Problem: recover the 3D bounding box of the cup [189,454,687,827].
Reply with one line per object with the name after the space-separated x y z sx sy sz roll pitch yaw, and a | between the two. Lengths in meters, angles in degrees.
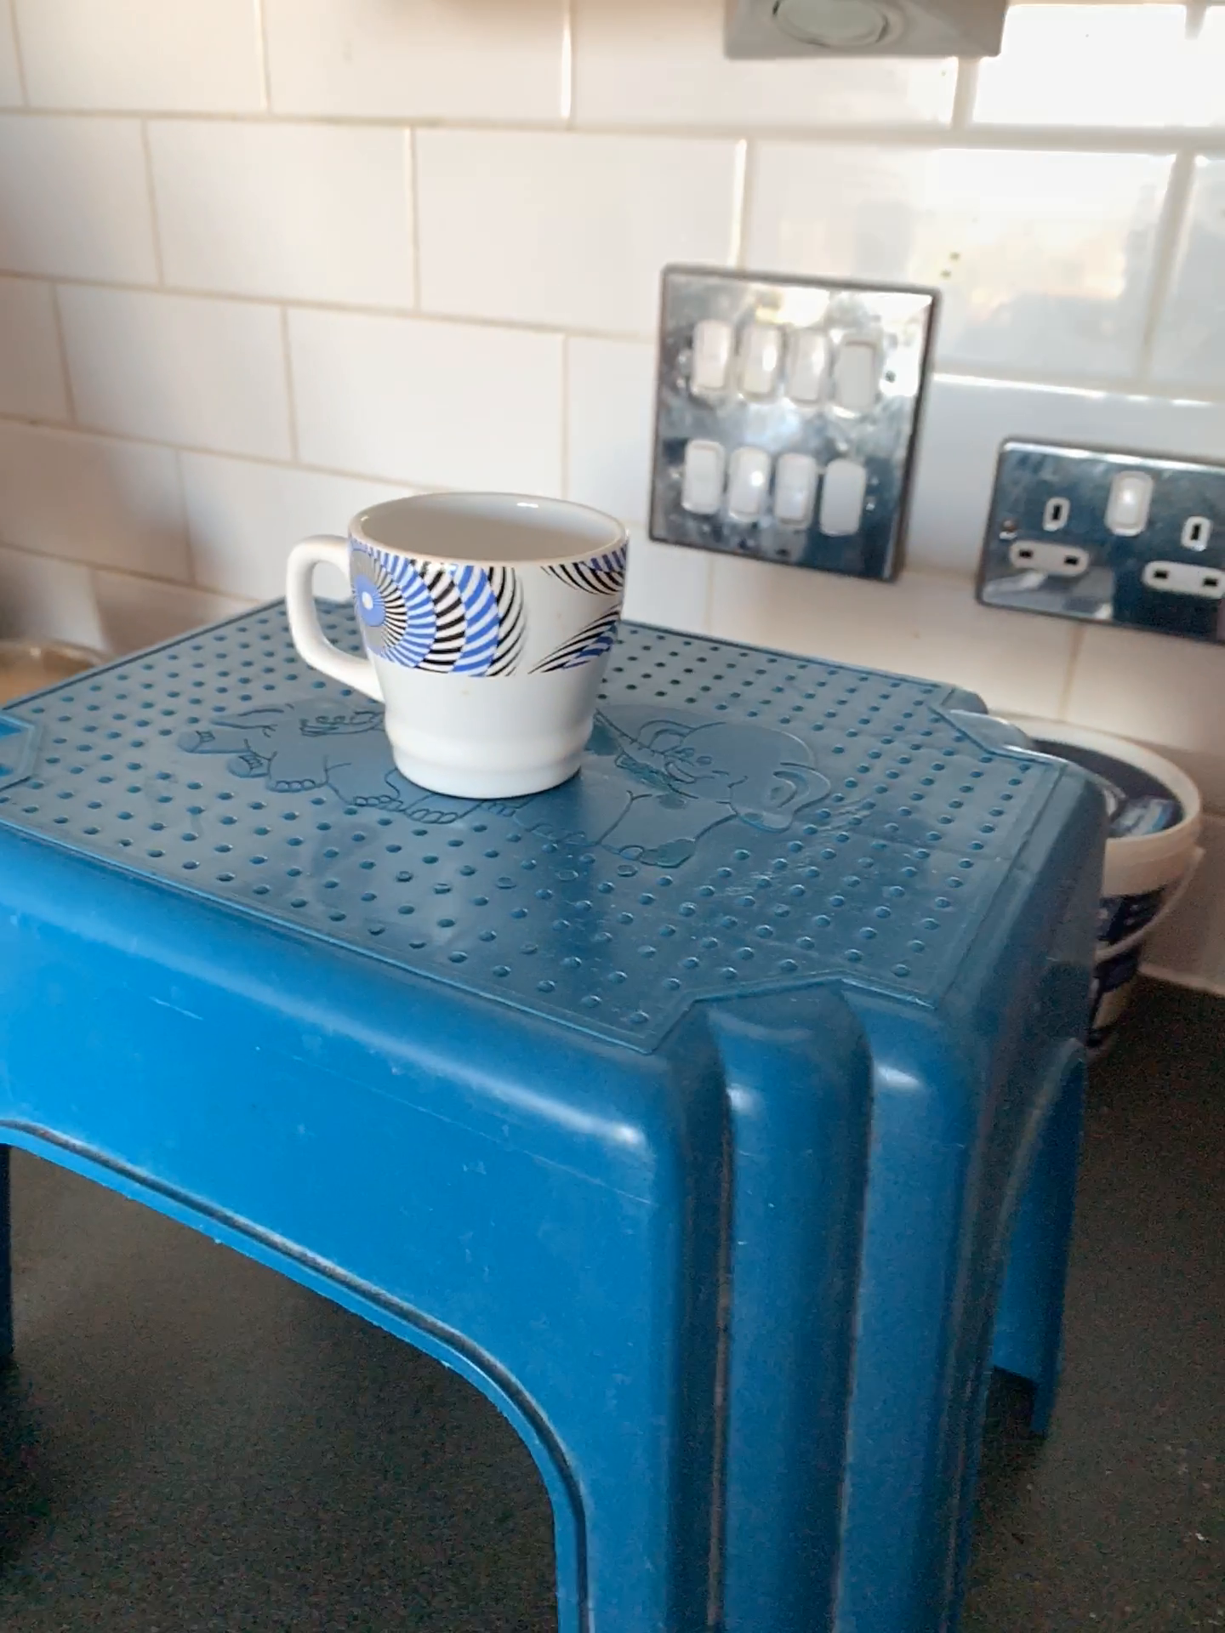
-0.040 -0.048 0.310 0.085 0.055 0.079 2 27 -1 | cup
